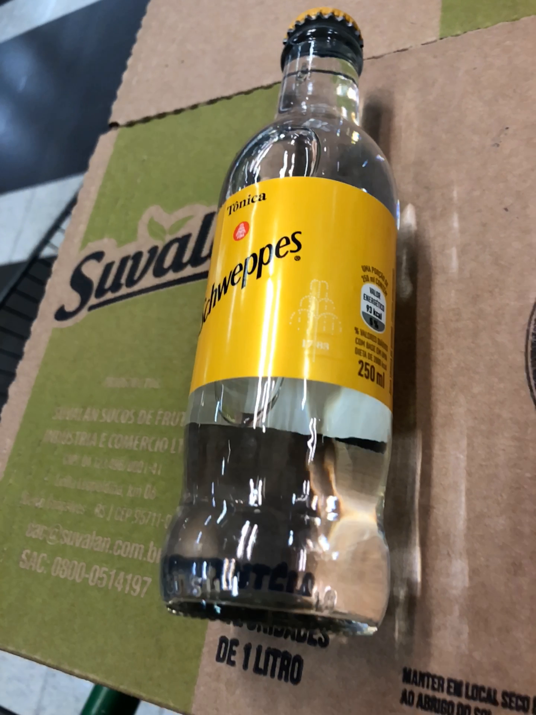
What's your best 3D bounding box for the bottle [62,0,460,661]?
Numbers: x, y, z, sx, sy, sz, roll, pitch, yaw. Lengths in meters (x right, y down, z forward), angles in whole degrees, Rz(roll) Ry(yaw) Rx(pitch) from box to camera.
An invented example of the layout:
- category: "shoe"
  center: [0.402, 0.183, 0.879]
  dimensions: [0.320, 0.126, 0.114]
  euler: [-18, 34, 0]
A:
- category: "bottle"
  center: [0.013, -0.044, 0.189]
  dimensions: [0.070, 0.070, 0.241]
  euler: [-6, 64, 26]
